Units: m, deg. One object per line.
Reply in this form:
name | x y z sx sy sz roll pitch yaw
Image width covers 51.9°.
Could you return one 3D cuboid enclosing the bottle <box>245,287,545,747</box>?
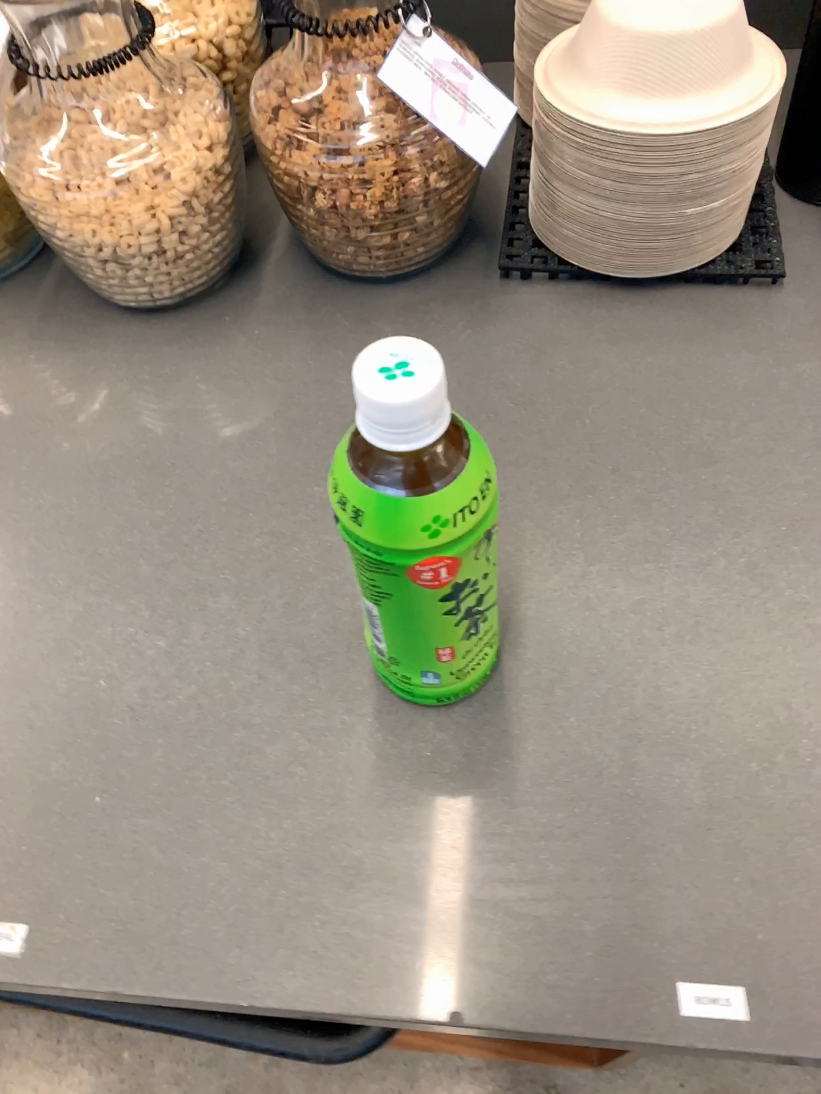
bottle | 0.003 0.002 0.360 0.070 0.199 0.070 -3 56 4
